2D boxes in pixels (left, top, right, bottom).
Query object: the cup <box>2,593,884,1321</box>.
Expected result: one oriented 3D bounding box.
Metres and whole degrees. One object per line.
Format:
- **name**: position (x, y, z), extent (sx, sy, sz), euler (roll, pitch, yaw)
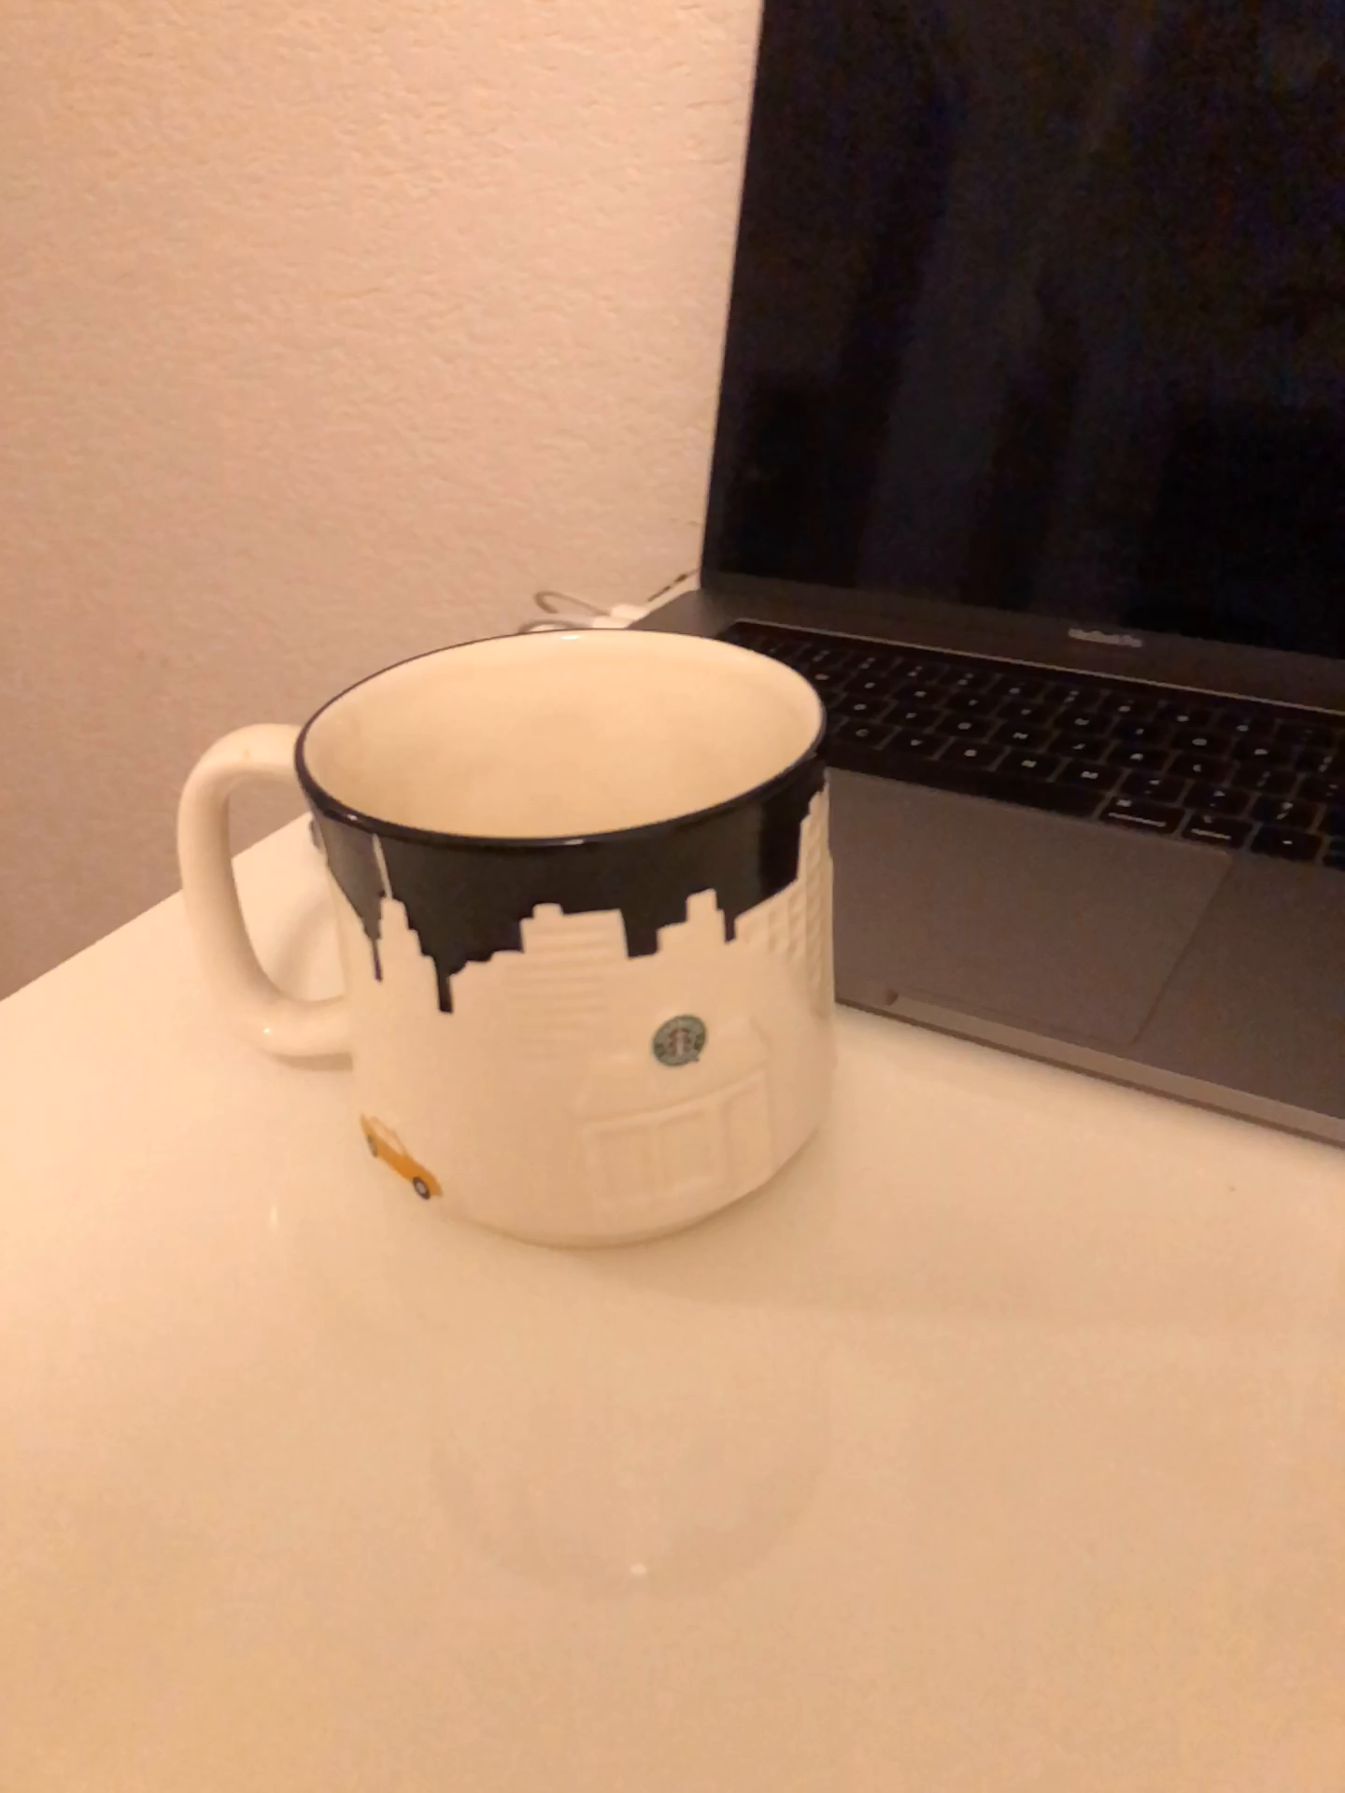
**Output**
- **cup**: position (-0.036, 0.005, 0.326), extent (0.150, 0.109, 0.101), euler (5, 31, 16)
